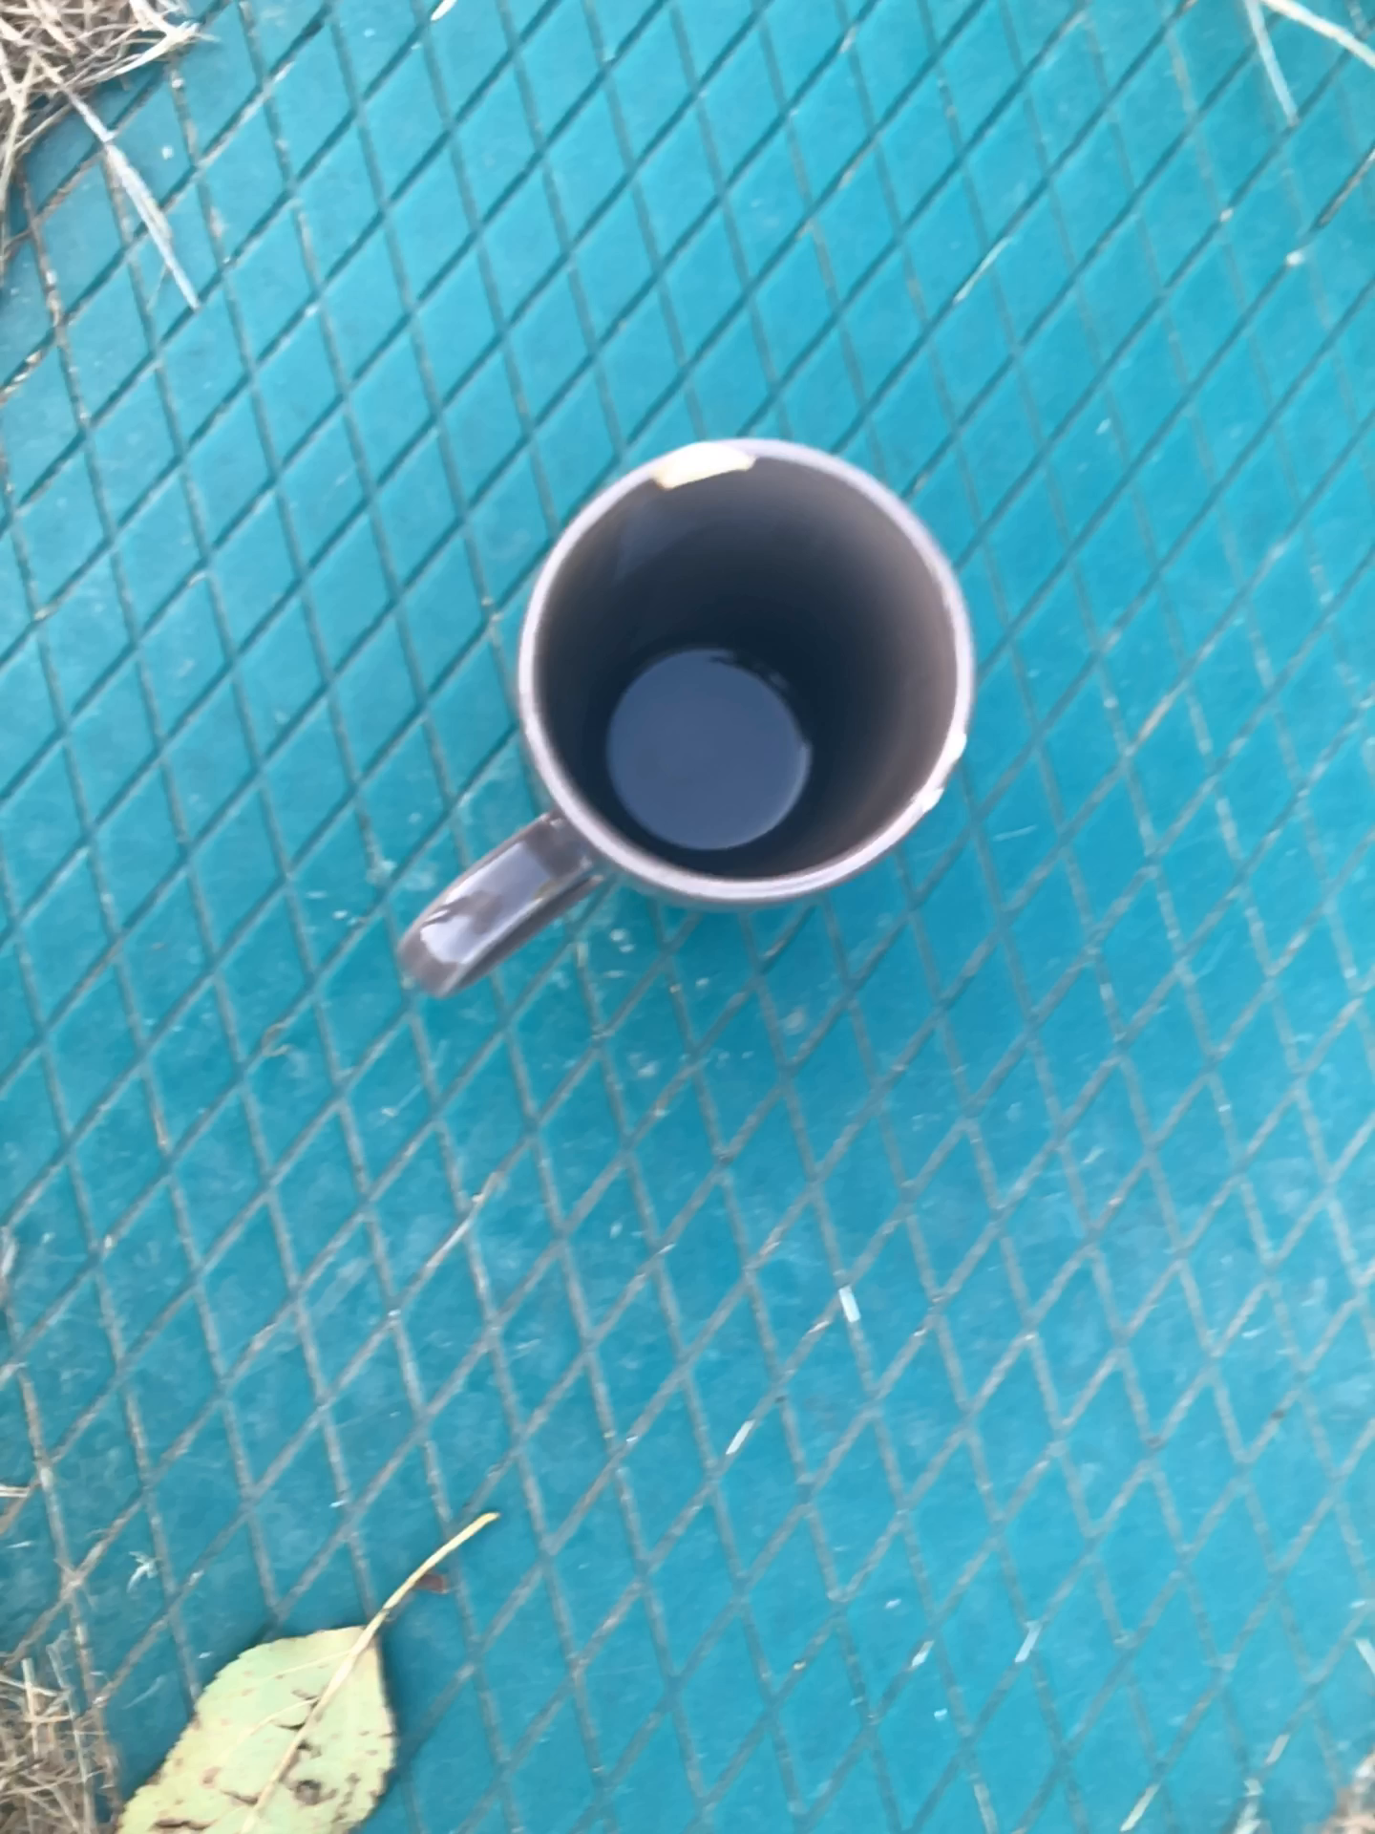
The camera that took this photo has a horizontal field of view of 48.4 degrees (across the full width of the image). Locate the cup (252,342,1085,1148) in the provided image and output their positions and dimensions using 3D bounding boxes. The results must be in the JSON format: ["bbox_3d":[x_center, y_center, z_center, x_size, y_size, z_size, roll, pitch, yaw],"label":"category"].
[{"bbox_3d":[-0.005,-0.030,0.324,0.126,0.086,0.090,-42,89,-8],"label":"cup"}]
